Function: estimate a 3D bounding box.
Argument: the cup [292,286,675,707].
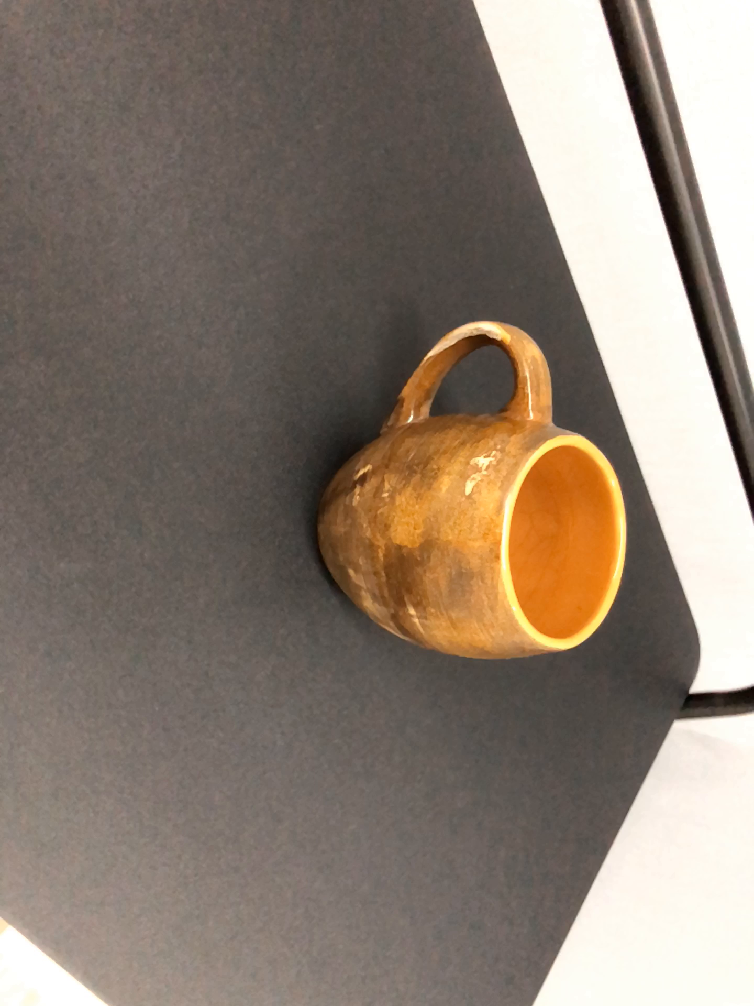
[{"bbox_3d":[0.043,0.002,0.321,0.092,0.092,0.131,14,82,-44],"label":"cup"}]
